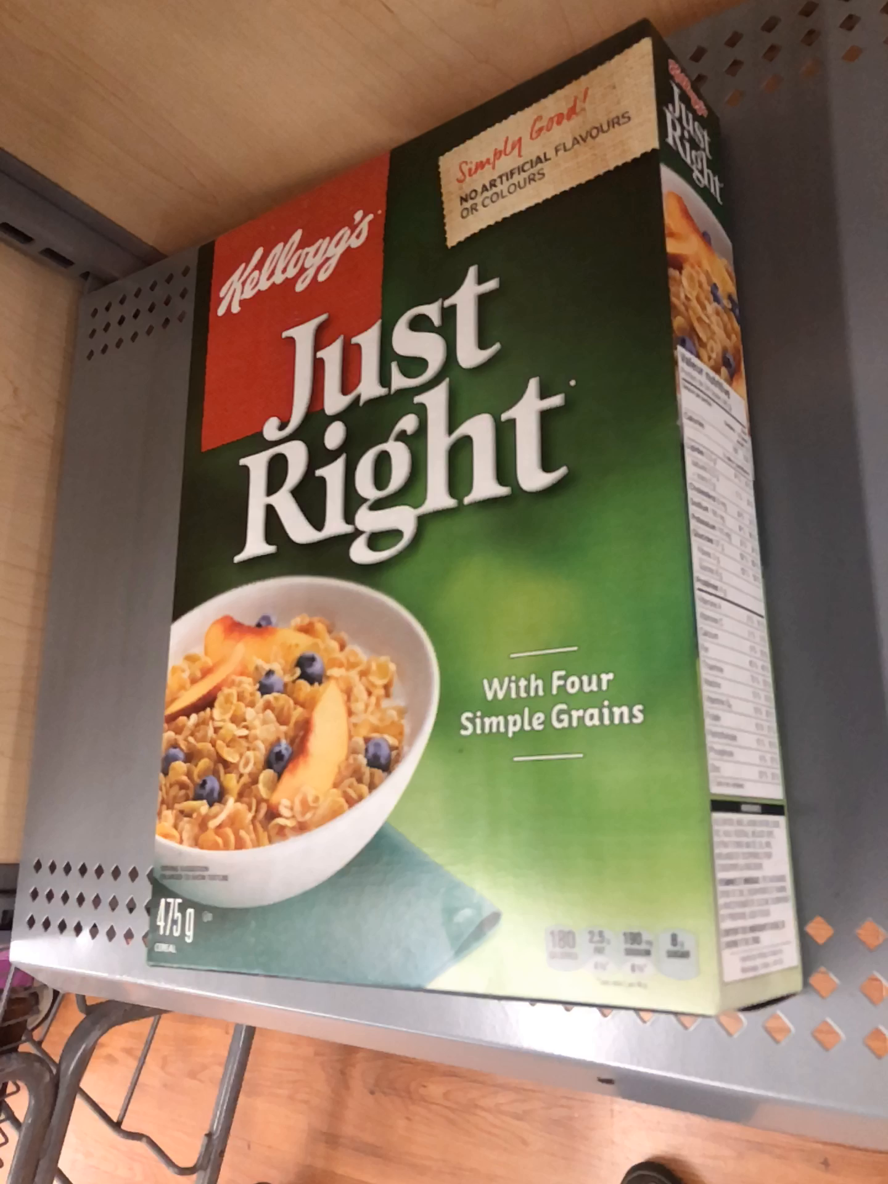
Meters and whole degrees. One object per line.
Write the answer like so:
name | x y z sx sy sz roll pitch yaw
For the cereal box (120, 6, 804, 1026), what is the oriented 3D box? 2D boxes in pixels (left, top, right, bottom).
cereal box | -0.006 -0.016 0.321 0.201 0.060 0.270 -11 71 34
